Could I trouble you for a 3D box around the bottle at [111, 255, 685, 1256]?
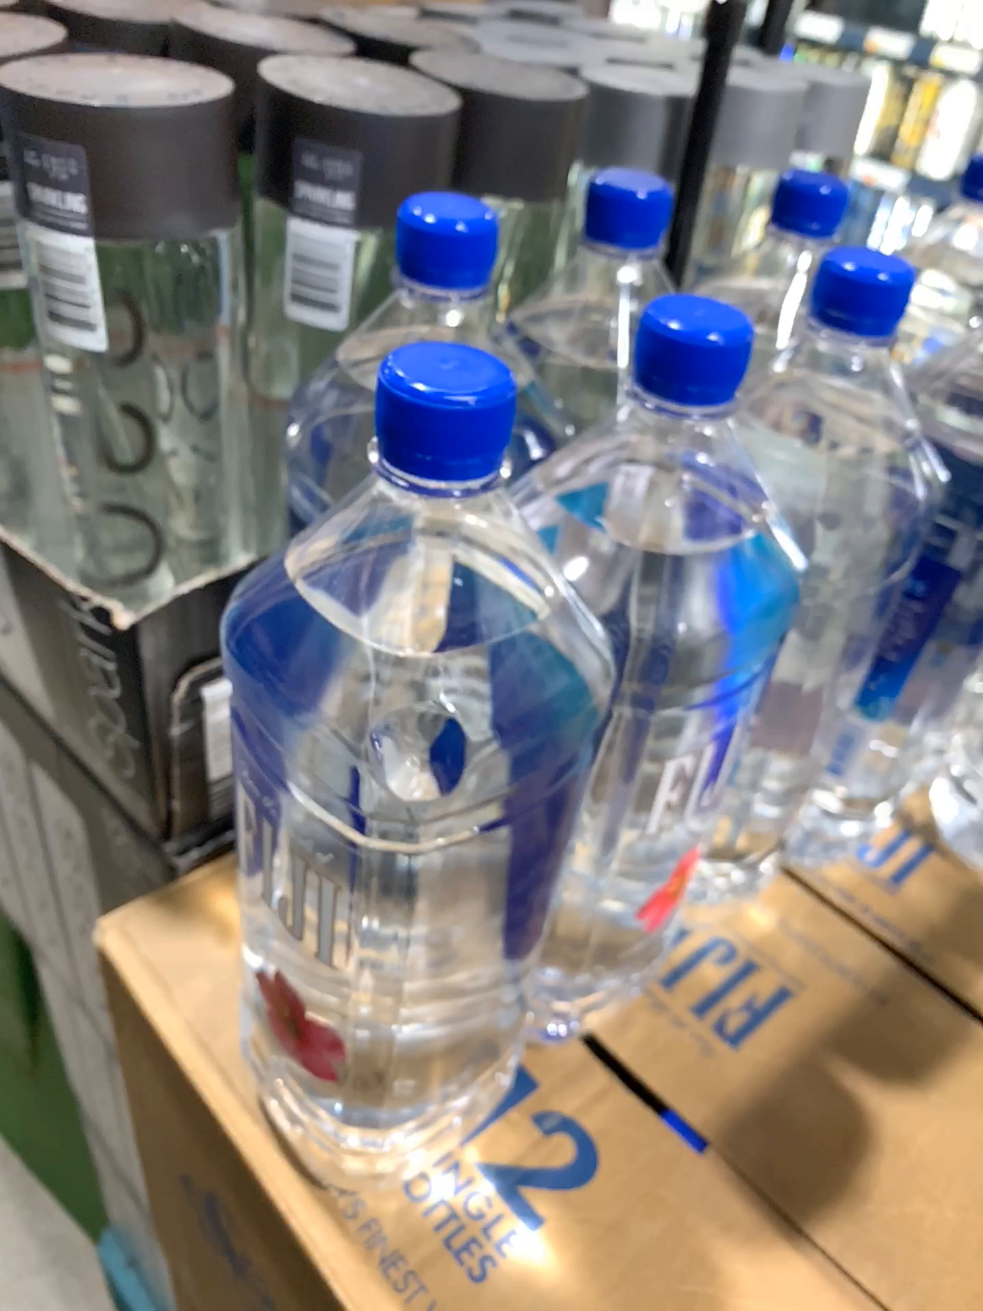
[{"bbox_3d":[-0.035,0.046,0.295,0.080,0.278,0.090,-22,46,-33],"label":"bottle"}]
